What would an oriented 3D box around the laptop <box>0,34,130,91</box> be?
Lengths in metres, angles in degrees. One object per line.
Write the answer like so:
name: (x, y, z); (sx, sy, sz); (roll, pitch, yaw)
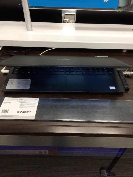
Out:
laptop: (-0.008, -0.099, 0.631); (0.396, 0.108, 0.213); (1, 43, -2)
